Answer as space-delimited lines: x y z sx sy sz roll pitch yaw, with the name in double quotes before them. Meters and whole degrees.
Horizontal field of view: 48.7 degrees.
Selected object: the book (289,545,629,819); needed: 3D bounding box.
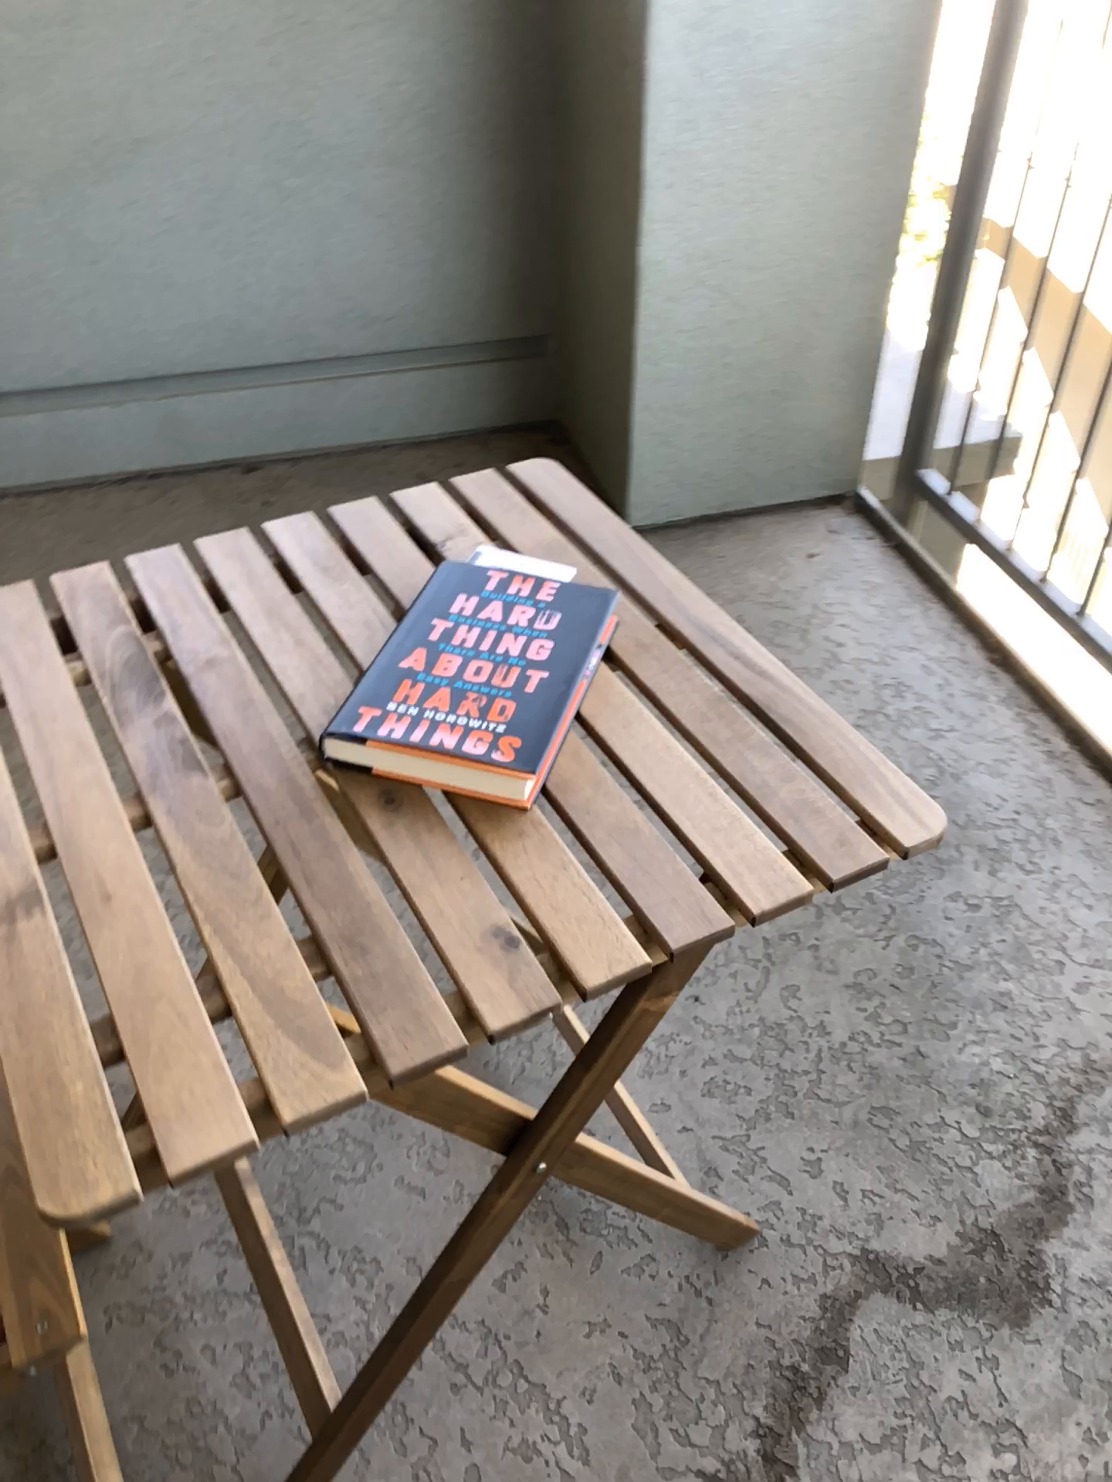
"book" -0.063 -0.055 0.931 0.180 0.040 0.241 12 42 13
